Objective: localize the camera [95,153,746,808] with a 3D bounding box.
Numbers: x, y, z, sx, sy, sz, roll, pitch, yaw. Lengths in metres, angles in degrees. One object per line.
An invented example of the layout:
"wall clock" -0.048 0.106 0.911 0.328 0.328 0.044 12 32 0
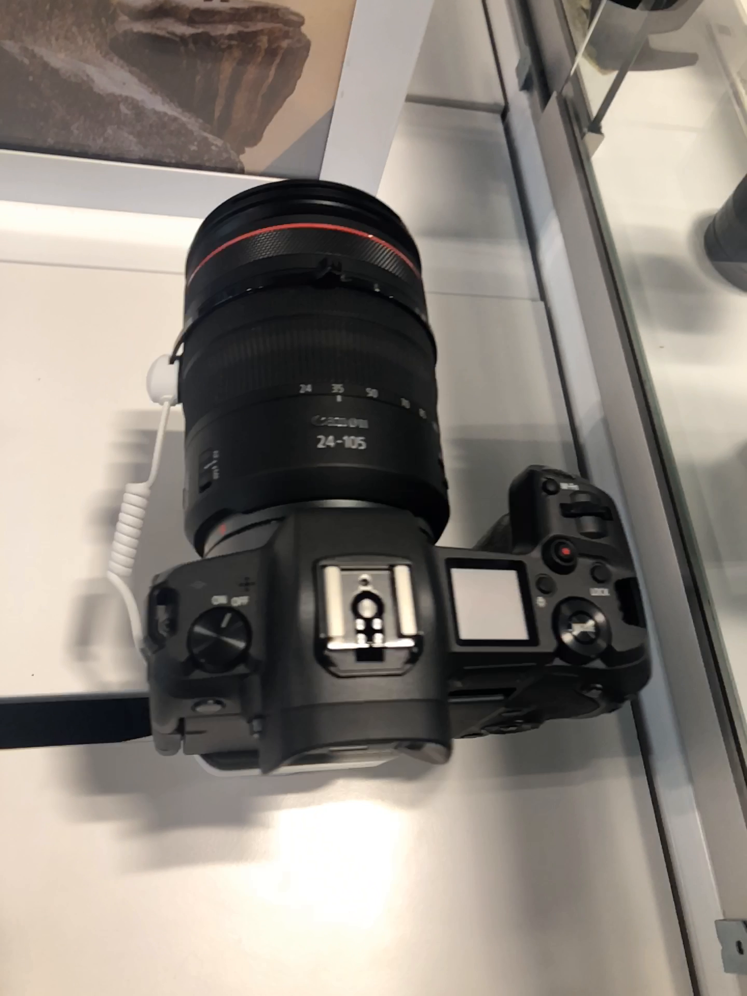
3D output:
"camera" 0.002 -0.002 0.228 0.139 0.086 0.145 -1 65 -14
